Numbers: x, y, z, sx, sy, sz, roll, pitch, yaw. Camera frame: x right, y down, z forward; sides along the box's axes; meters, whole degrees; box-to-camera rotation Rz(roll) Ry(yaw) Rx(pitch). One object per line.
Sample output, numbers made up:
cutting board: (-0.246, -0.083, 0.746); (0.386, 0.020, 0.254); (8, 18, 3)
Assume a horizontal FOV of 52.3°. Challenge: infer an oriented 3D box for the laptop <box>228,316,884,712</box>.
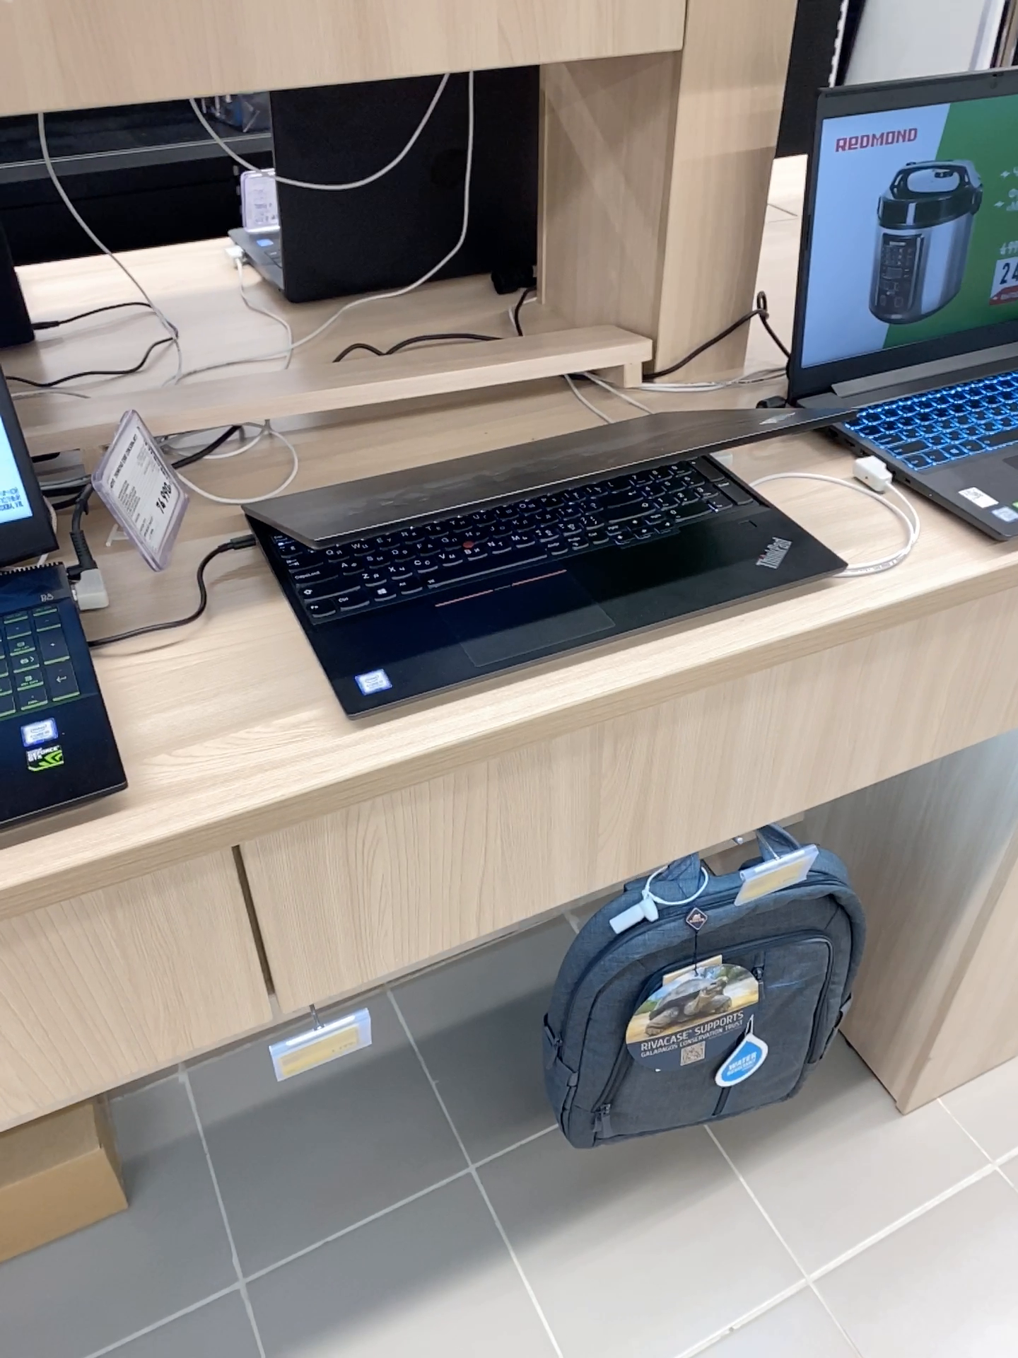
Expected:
laptop: (0.022, -0.136, 0.720); (0.368, 0.093, 0.241); (-16, 42, -18)
